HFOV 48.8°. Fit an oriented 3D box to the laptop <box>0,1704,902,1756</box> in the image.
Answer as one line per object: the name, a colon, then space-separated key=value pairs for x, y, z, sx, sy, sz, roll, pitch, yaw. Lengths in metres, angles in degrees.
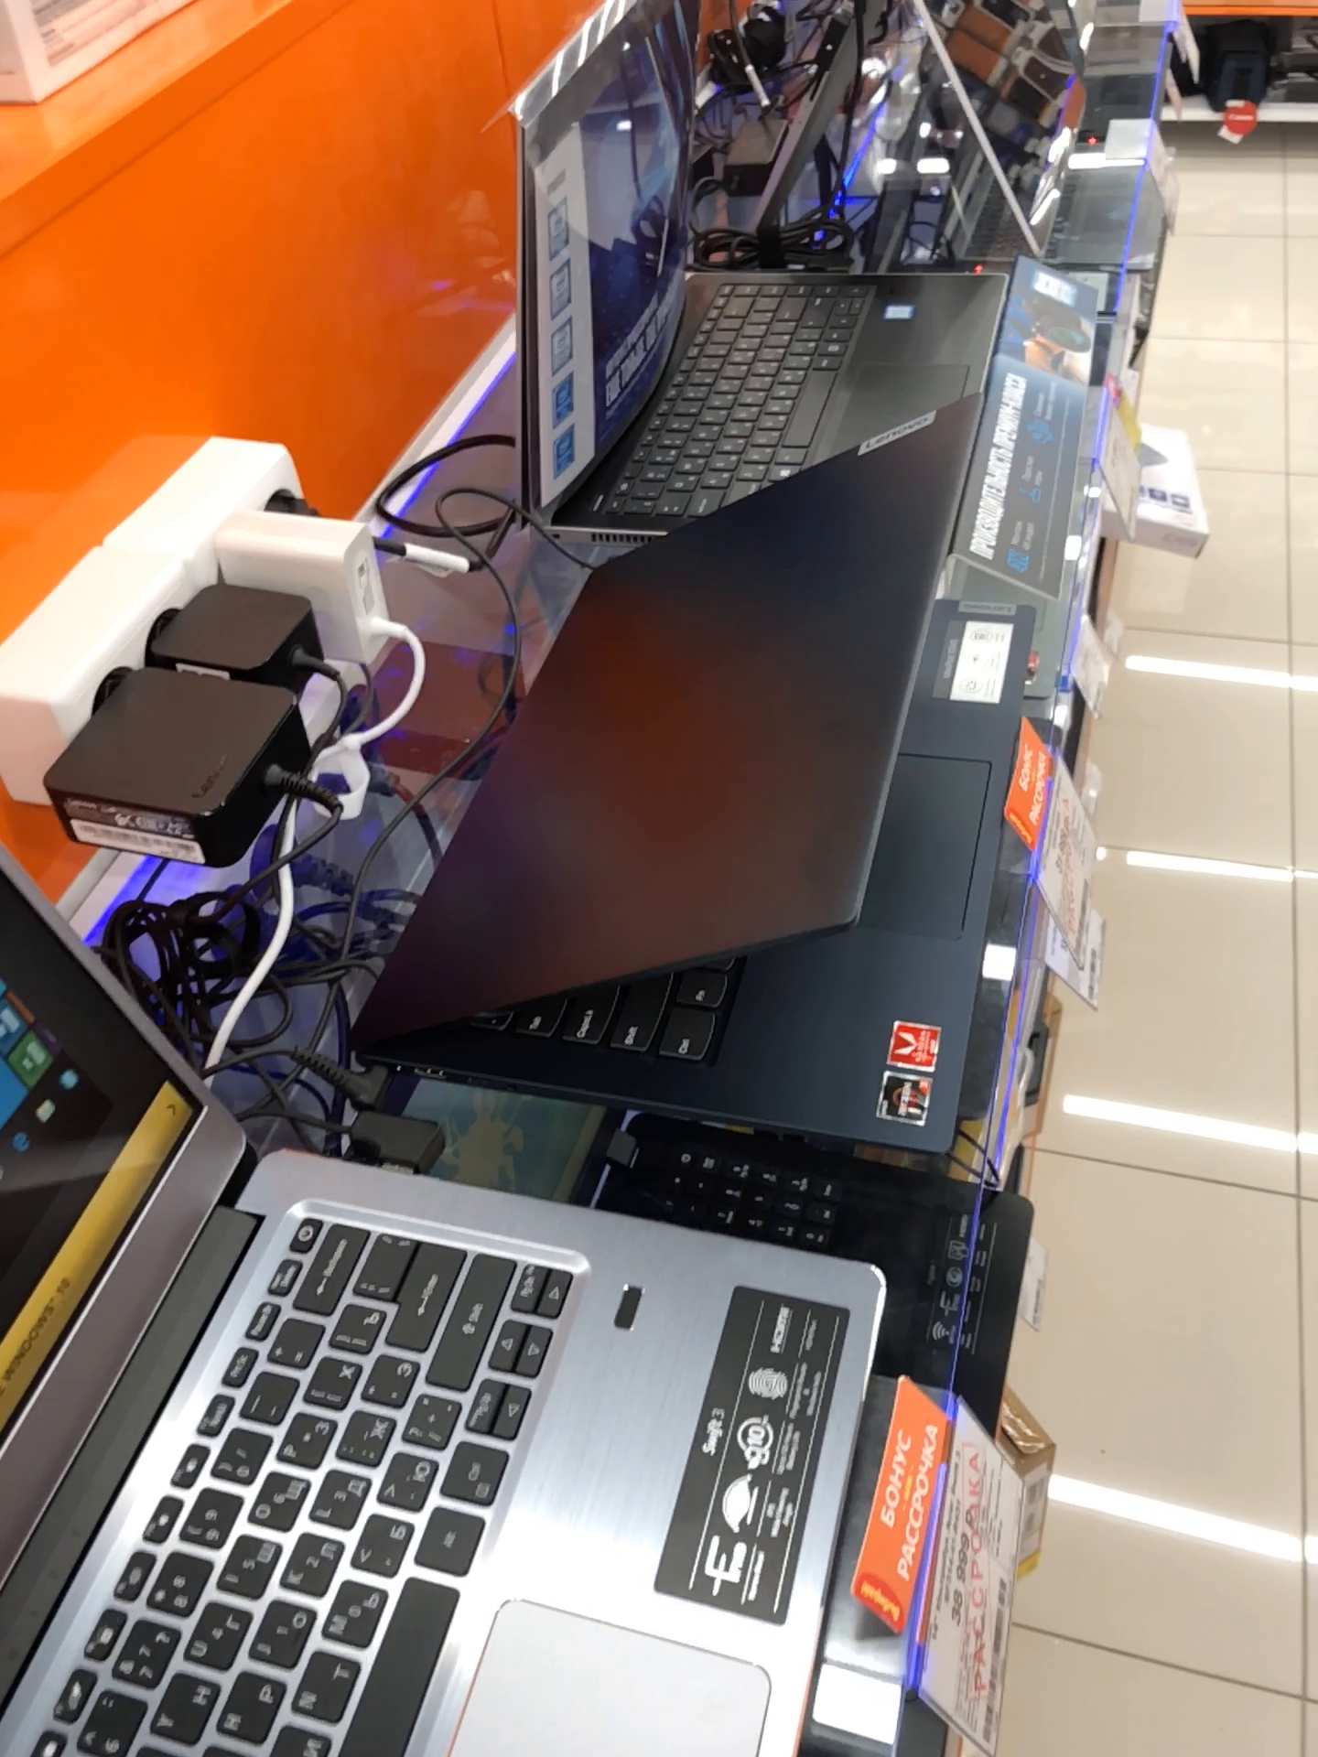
laptop: x=-0.076 y=0.473 z=0.373 sx=0.235 sy=0.208 sz=0.349 roll=8 pitch=44 yaw=14

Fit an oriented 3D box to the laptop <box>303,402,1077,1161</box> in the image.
laptop: x=0.035 y=-0.062 z=0.579 sx=0.211 sy=0.106 sz=0.300 roll=9 pitch=47 yaw=16

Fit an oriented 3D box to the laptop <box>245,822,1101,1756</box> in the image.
laptop: x=0.036 y=0.199 z=0.643 sx=0.246 sy=0.230 sz=0.343 roll=11 pitch=47 yaw=18

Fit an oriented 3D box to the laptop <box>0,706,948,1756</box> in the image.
laptop: x=-0.078 y=0.156 z=0.294 sx=0.224 sy=0.203 sz=0.317 roll=8 pitch=46 yaw=15

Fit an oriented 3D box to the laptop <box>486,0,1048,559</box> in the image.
laptop: x=0.074 y=-0.363 z=0.794 sx=0.228 sy=0.213 sz=0.307 roll=8 pitch=47 yaw=17

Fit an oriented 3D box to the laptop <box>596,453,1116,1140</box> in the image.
laptop: x=0.136 y=-0.070 z=0.908 sx=0.225 sy=0.215 sz=0.354 roll=10 pitch=47 yaw=17
